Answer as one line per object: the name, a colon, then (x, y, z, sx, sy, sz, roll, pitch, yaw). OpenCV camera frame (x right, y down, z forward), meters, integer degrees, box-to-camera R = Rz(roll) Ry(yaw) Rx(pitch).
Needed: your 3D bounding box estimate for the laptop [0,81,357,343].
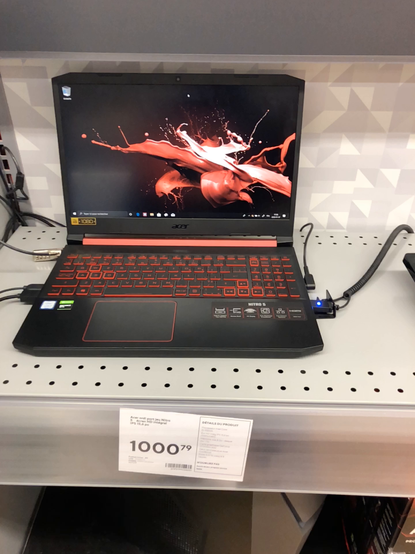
laptop: (-0.042, -0.099, 0.600, 0.361, 0.241, 0.282, 0, 34, -1)
